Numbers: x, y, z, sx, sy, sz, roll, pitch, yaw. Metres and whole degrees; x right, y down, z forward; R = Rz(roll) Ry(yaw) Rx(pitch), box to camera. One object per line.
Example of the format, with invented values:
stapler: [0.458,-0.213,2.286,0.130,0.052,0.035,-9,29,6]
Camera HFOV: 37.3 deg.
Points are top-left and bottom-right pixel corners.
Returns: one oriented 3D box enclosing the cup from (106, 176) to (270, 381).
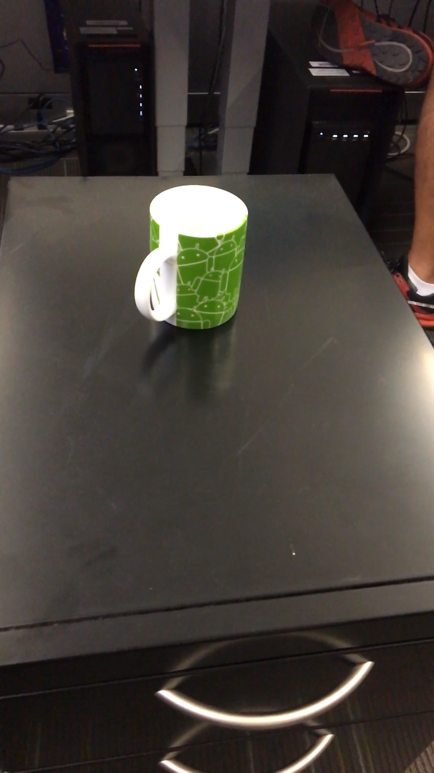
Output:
cup: [-0.024,-0.096,0.560,0.090,0.110,0.120,20,46,14]
